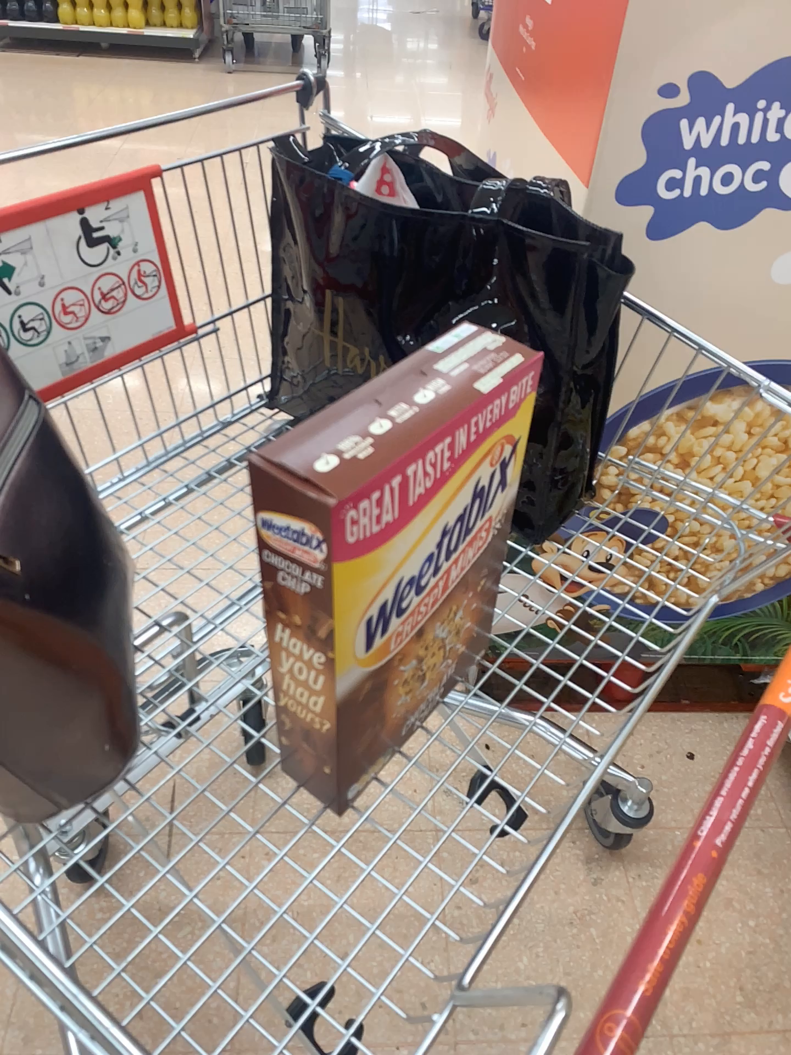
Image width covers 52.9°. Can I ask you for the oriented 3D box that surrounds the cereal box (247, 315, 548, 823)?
[{"bbox_3d":[0.003,0.032,0.518,0.060,0.277,0.191,28,45,26],"label":"cereal box"}]
